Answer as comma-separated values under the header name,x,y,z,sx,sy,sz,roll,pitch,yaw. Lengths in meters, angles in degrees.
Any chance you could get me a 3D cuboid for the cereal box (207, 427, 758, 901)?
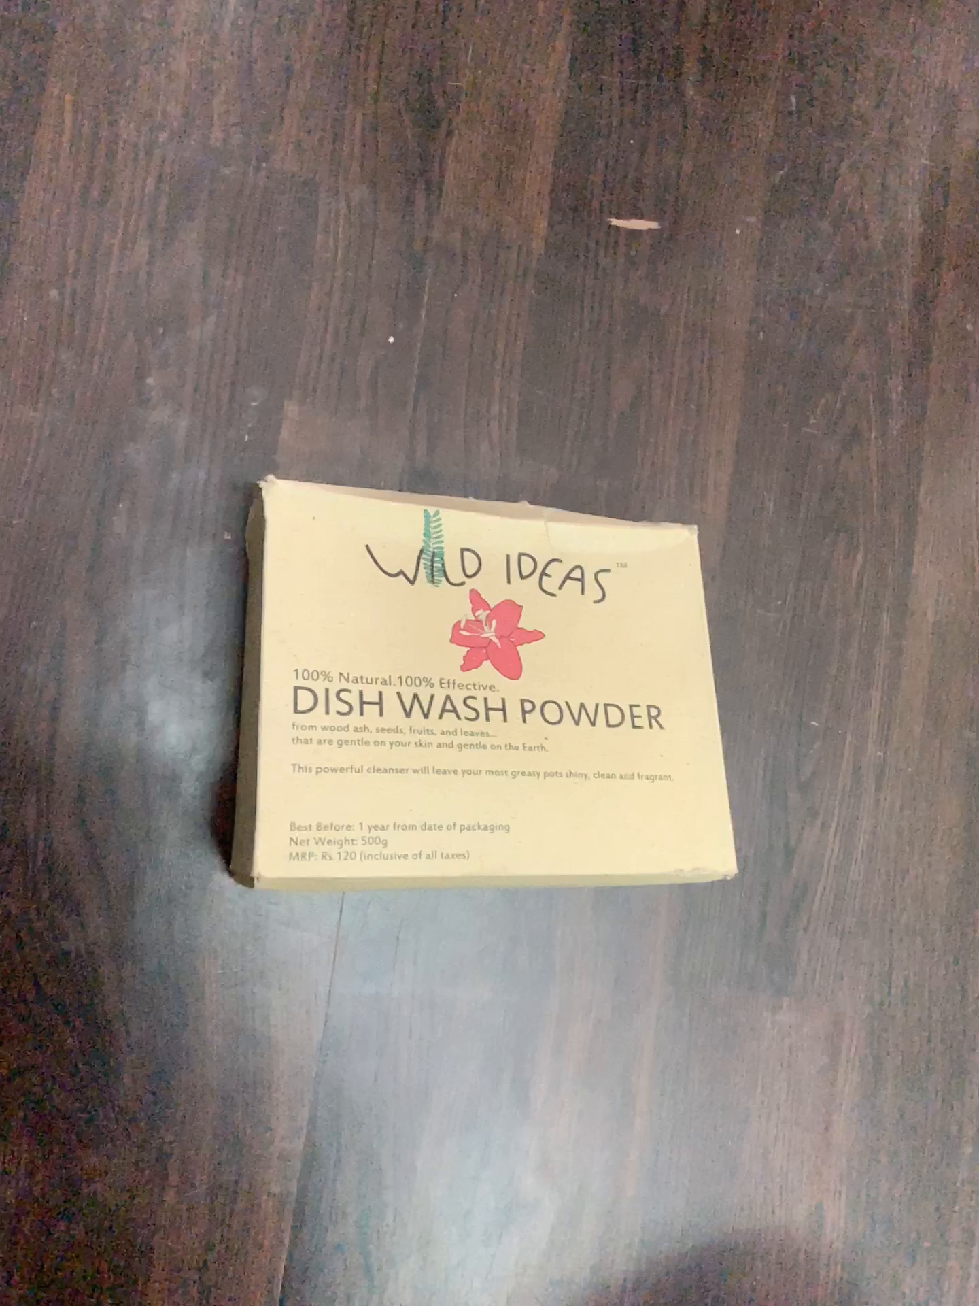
name,x,y,z,sx,sy,sz,roll,pitch,yaw
cereal box,-0.005,0.010,0.370,0.180,0.060,0.150,4,71,-18
